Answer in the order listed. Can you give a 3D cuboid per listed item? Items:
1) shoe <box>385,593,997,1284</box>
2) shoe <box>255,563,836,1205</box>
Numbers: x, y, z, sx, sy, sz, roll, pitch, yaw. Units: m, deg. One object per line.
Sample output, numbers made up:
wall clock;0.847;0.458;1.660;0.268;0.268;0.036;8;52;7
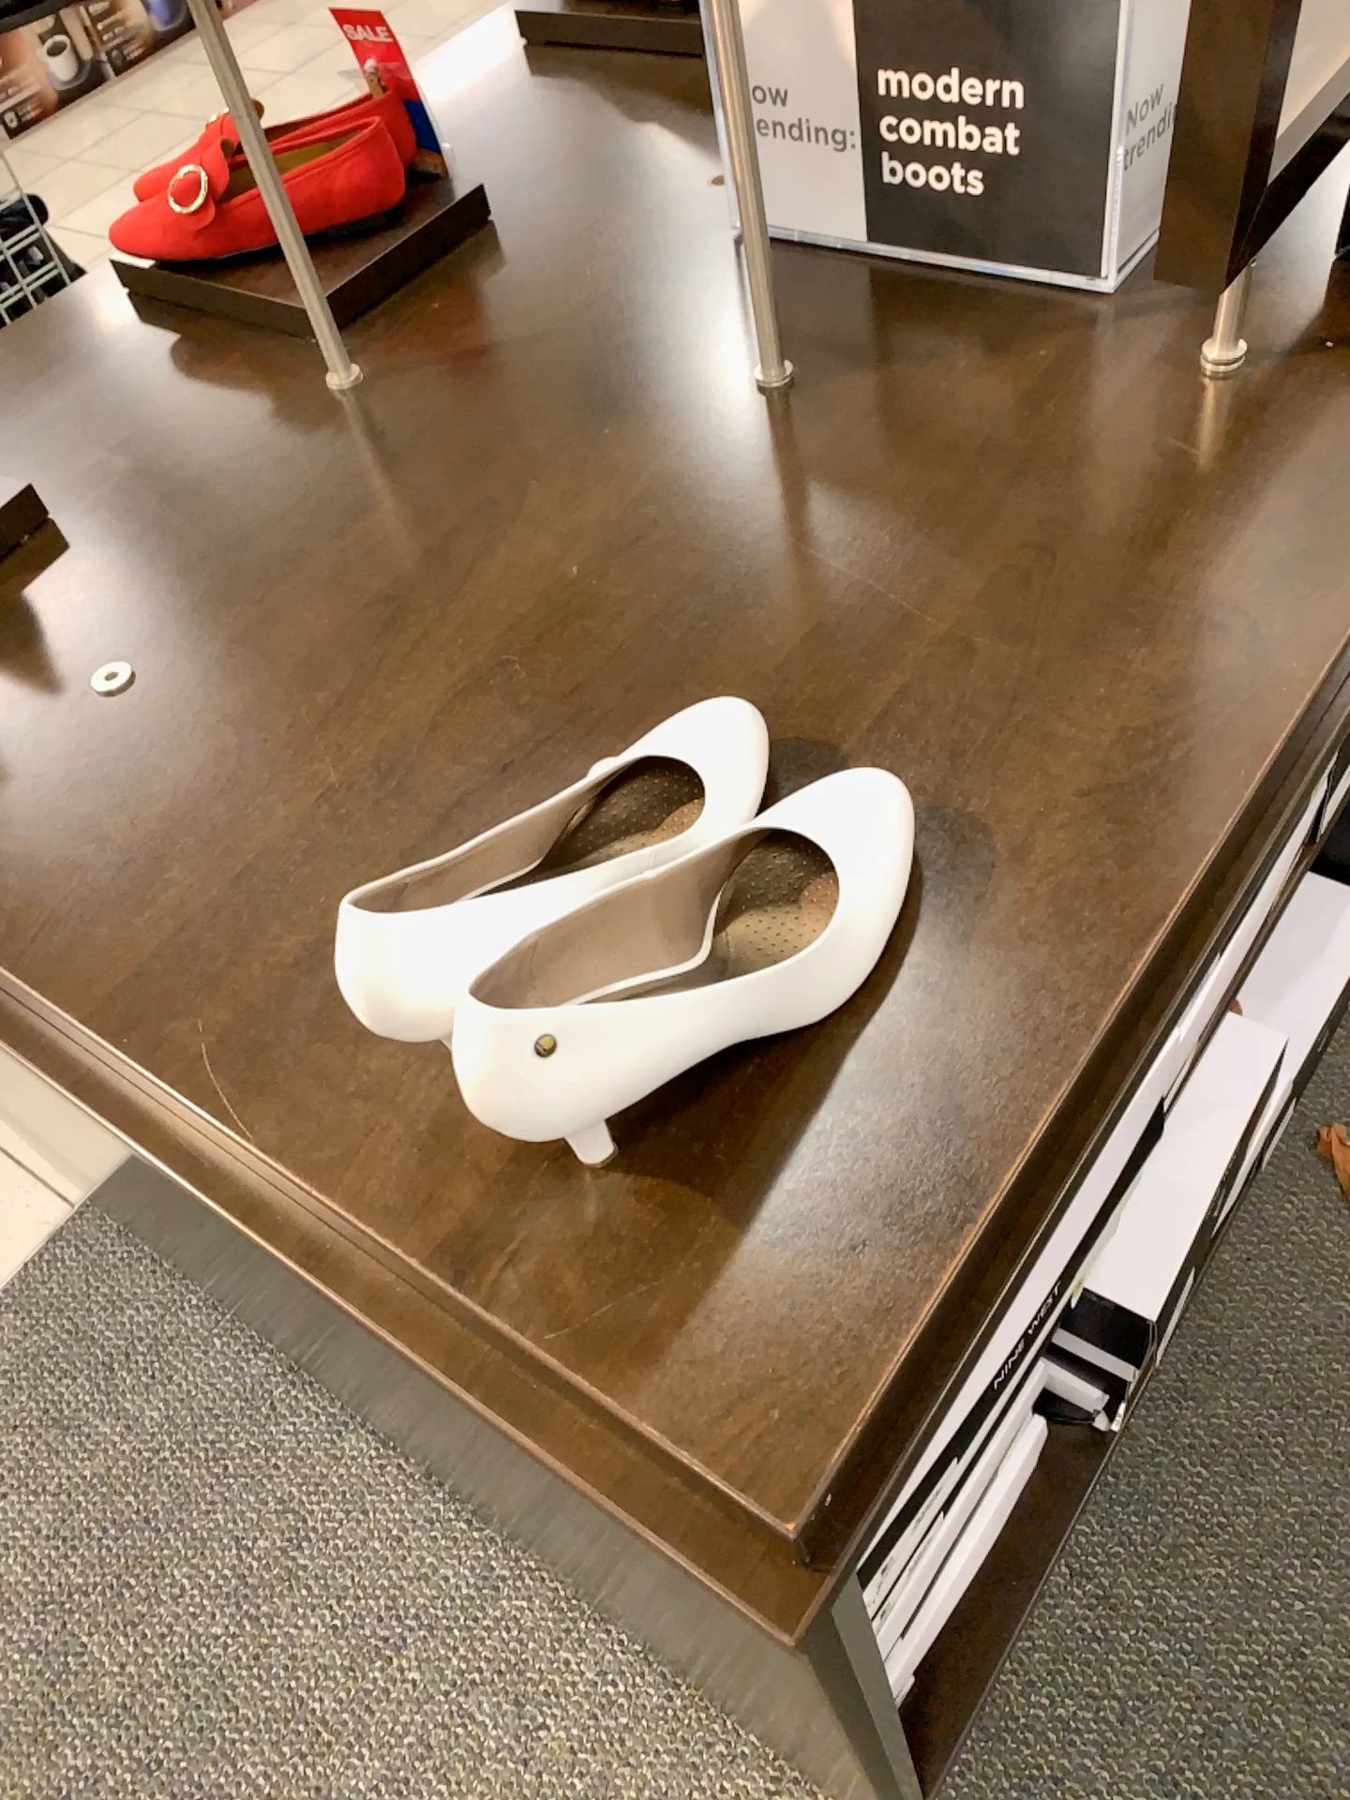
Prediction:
shoe;0.022;0.007;0.561;0.090;0.110;0.260;28;62;30
shoe;-0.040;-0.016;0.603;0.090;0.110;0.260;24;60;29
